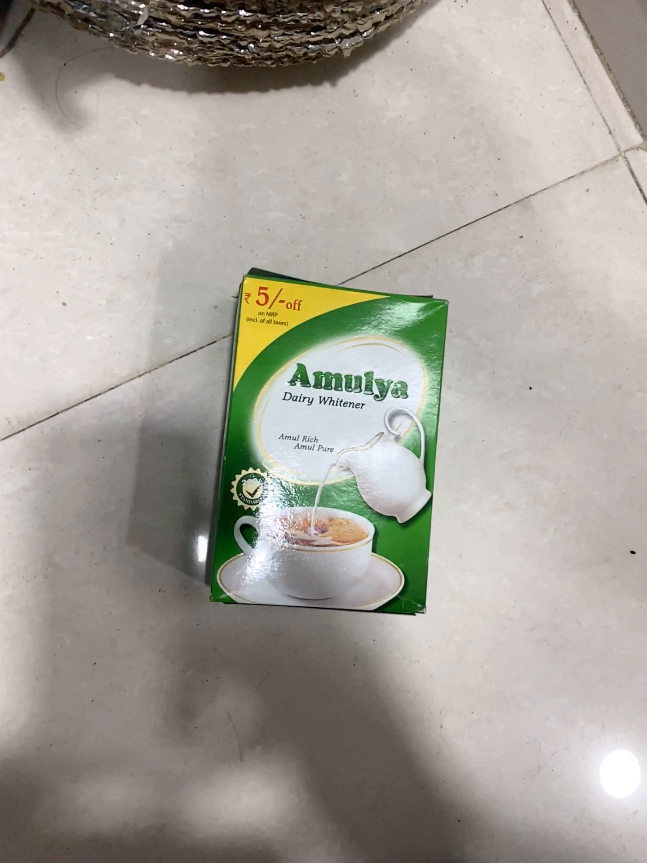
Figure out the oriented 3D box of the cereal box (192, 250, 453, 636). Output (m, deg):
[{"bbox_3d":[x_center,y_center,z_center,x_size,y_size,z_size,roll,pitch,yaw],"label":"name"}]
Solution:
[{"bbox_3d":[-0.003,0.007,0.284,0.090,0.060,0.140,6,85,-9],"label":"cereal box"}]
